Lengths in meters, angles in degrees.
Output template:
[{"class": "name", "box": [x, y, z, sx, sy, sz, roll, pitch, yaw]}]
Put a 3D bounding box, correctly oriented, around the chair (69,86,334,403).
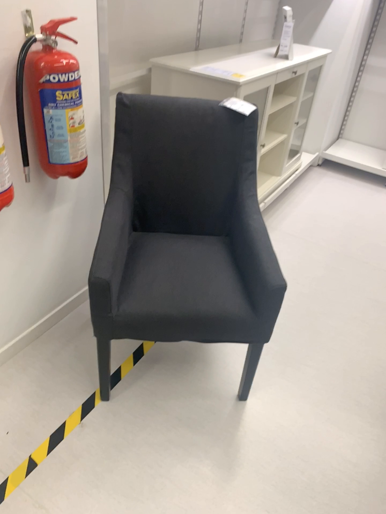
[{"class": "chair", "box": [-0.031, -0.030, 1.425, 0.610, 0.916, 0.633, 3, 36, -6]}]
